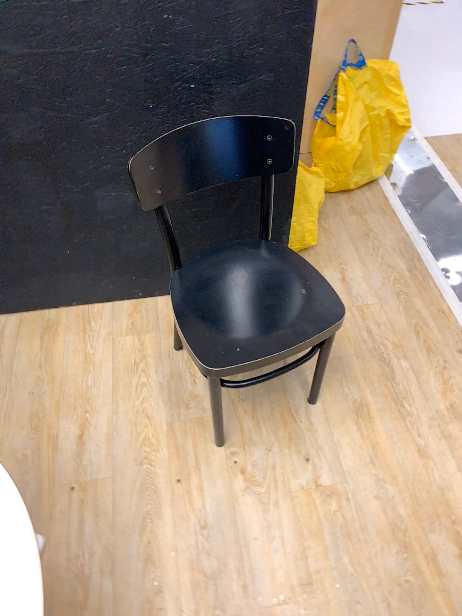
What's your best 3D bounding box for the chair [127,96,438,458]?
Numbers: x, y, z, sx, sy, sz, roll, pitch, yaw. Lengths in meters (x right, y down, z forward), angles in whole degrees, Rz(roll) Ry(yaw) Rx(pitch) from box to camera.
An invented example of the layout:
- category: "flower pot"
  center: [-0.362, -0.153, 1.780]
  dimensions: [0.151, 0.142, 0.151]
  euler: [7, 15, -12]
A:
- category: "chair"
  center: [0.073, -0.051, 1.177]
  dimensions: [0.440, 0.698, 0.441]
  euler: [-20, 53, -18]
